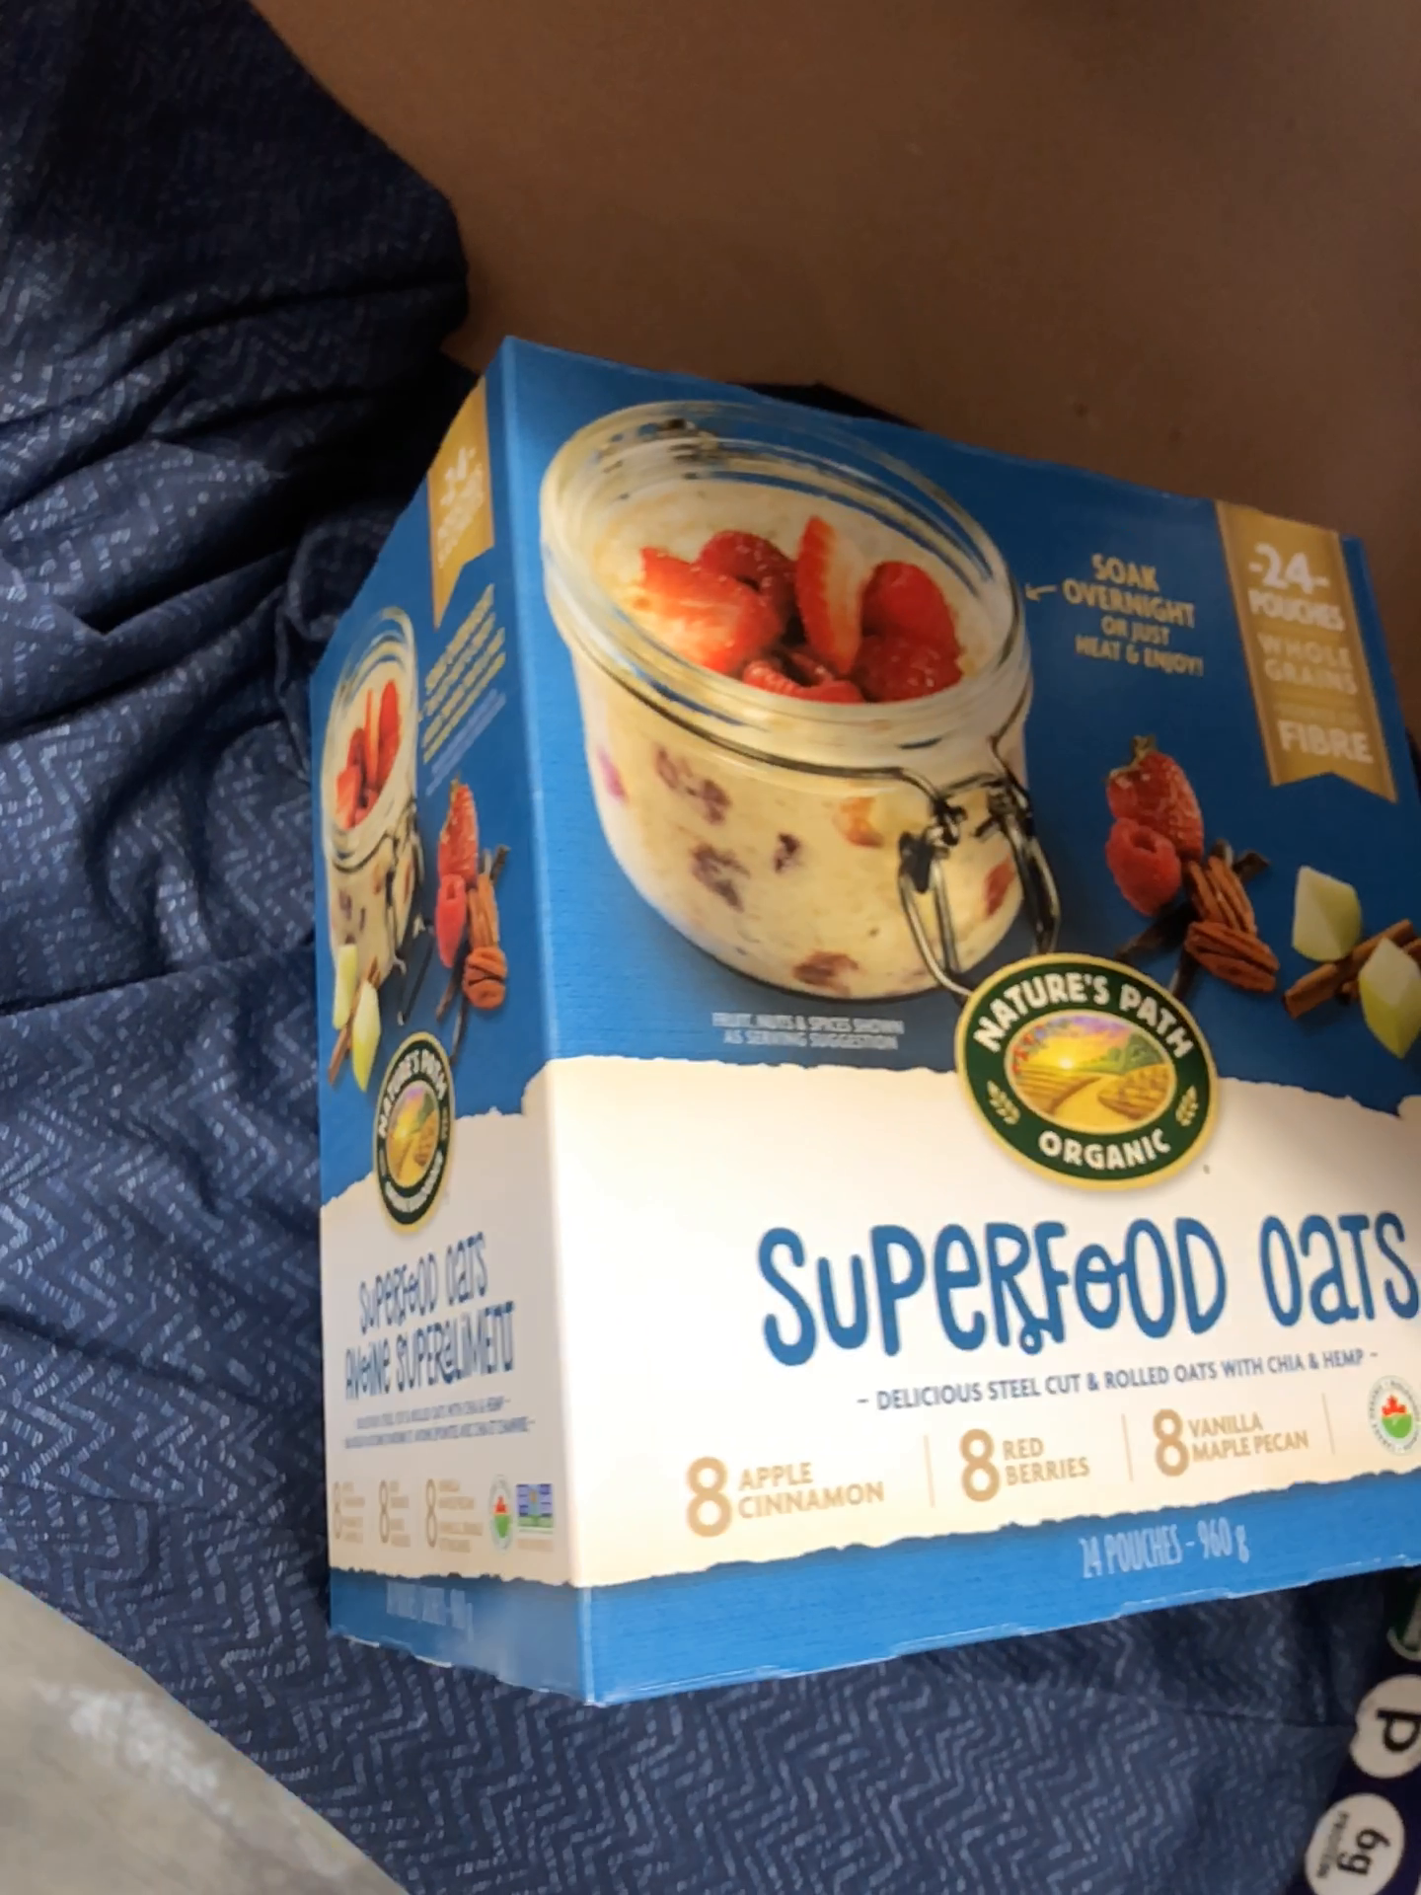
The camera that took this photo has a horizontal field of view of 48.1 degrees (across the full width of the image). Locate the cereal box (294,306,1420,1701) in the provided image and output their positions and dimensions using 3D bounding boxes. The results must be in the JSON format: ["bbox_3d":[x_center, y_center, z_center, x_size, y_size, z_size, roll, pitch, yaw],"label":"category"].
[{"bbox_3d":[0.046,0.023,0.386,0.251,0.150,0.240,3,71,-28],"label":"cereal box"}]
